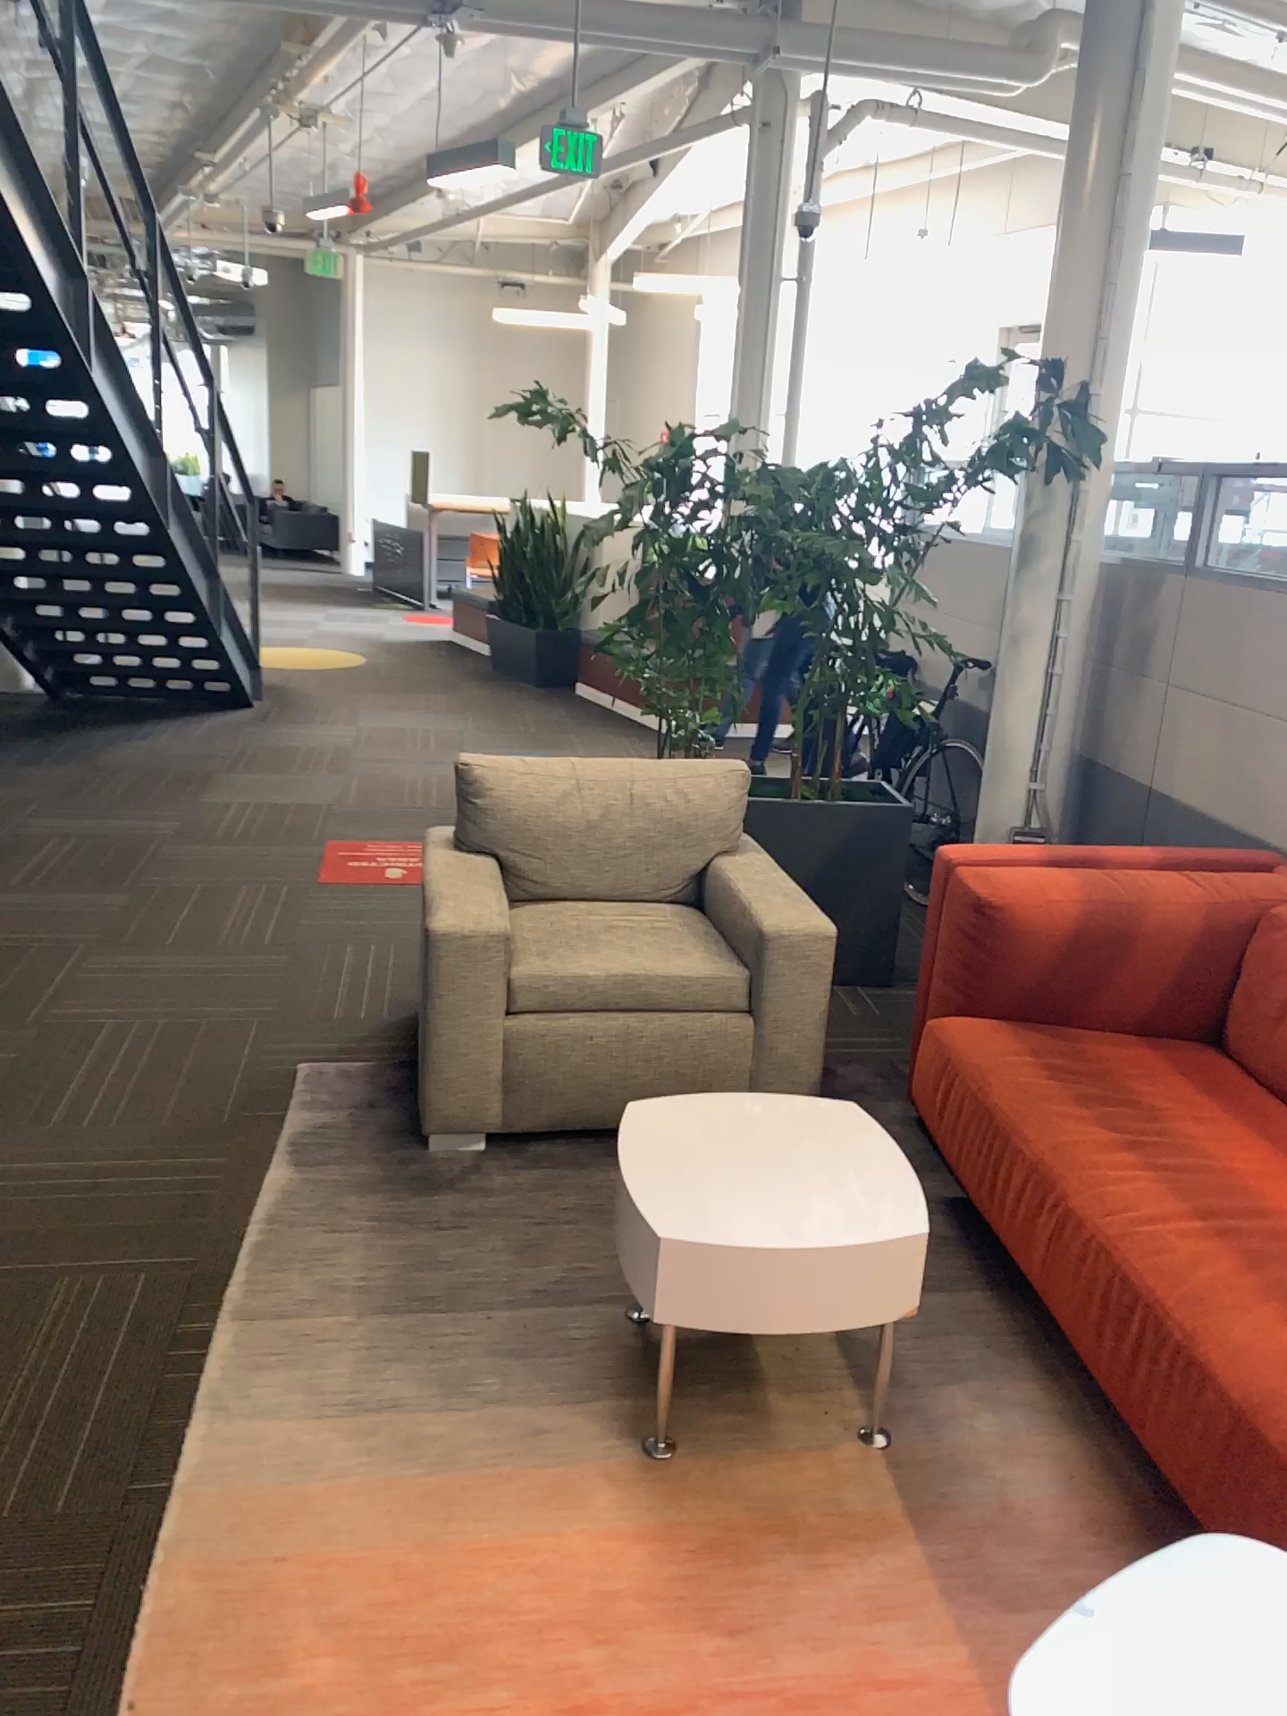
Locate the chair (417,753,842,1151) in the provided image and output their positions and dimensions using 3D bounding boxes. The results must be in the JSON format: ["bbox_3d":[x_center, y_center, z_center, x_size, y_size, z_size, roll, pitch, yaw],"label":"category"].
[{"bbox_3d":[-0.105,0.193,3.357,0.920,0.727,0.874,1,16,-10],"label":"chair"}]
